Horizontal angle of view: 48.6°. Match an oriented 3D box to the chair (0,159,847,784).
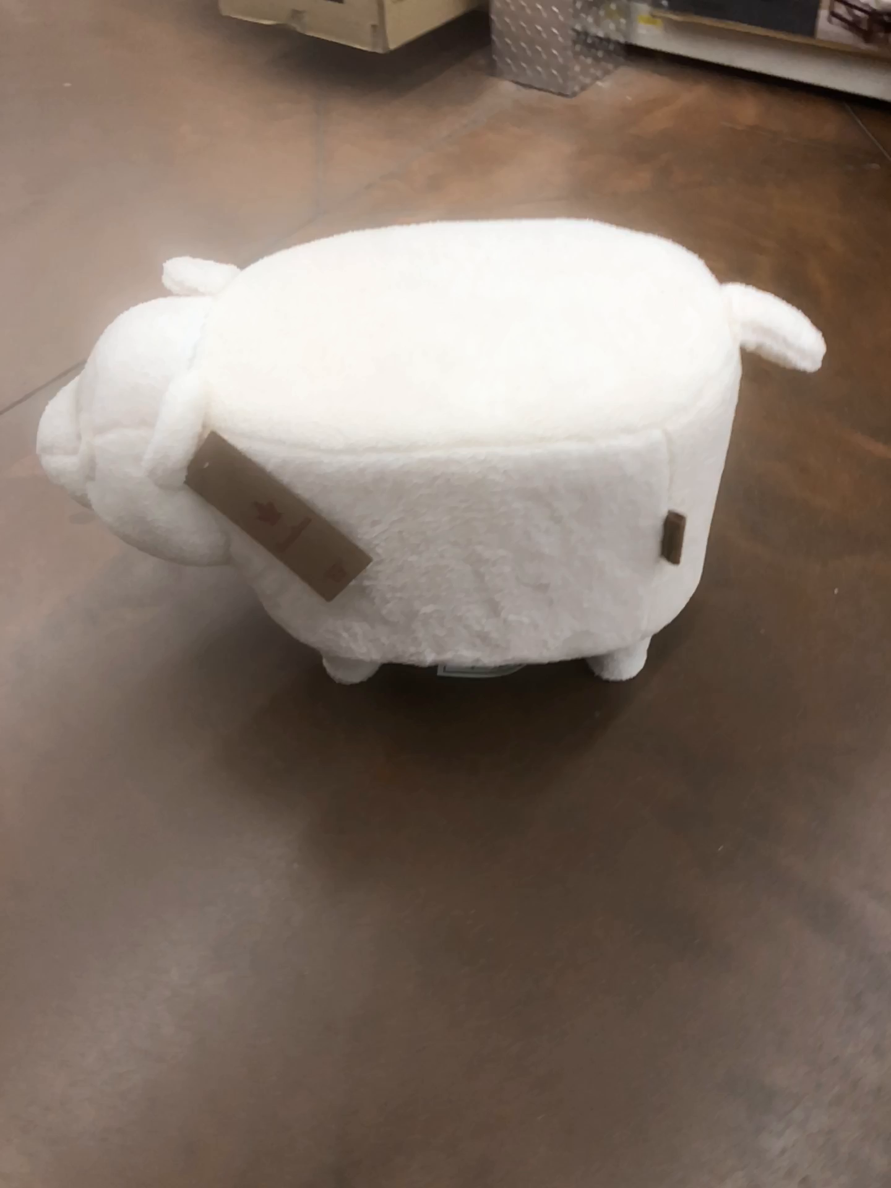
[{"bbox_3d":[-0.030,-0.122,0.920,0.630,0.349,0.441,2,49,7],"label":"chair"}]
